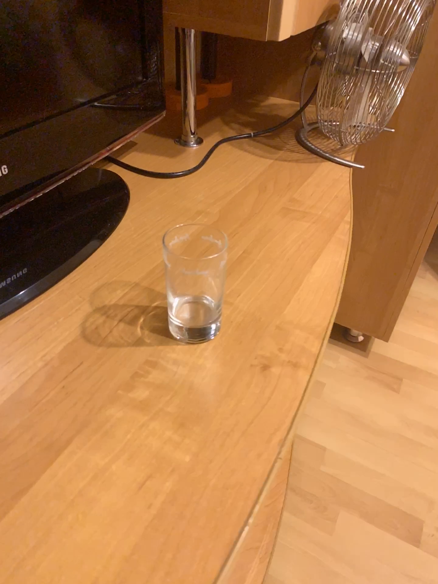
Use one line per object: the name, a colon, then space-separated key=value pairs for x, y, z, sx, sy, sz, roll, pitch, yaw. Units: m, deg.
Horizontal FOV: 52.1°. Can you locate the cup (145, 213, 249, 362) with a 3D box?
cup: x=-0.018 y=-0.004 z=0.389 sx=0.060 sy=0.098 sz=0.061 roll=2 pitch=39 yaw=-1
